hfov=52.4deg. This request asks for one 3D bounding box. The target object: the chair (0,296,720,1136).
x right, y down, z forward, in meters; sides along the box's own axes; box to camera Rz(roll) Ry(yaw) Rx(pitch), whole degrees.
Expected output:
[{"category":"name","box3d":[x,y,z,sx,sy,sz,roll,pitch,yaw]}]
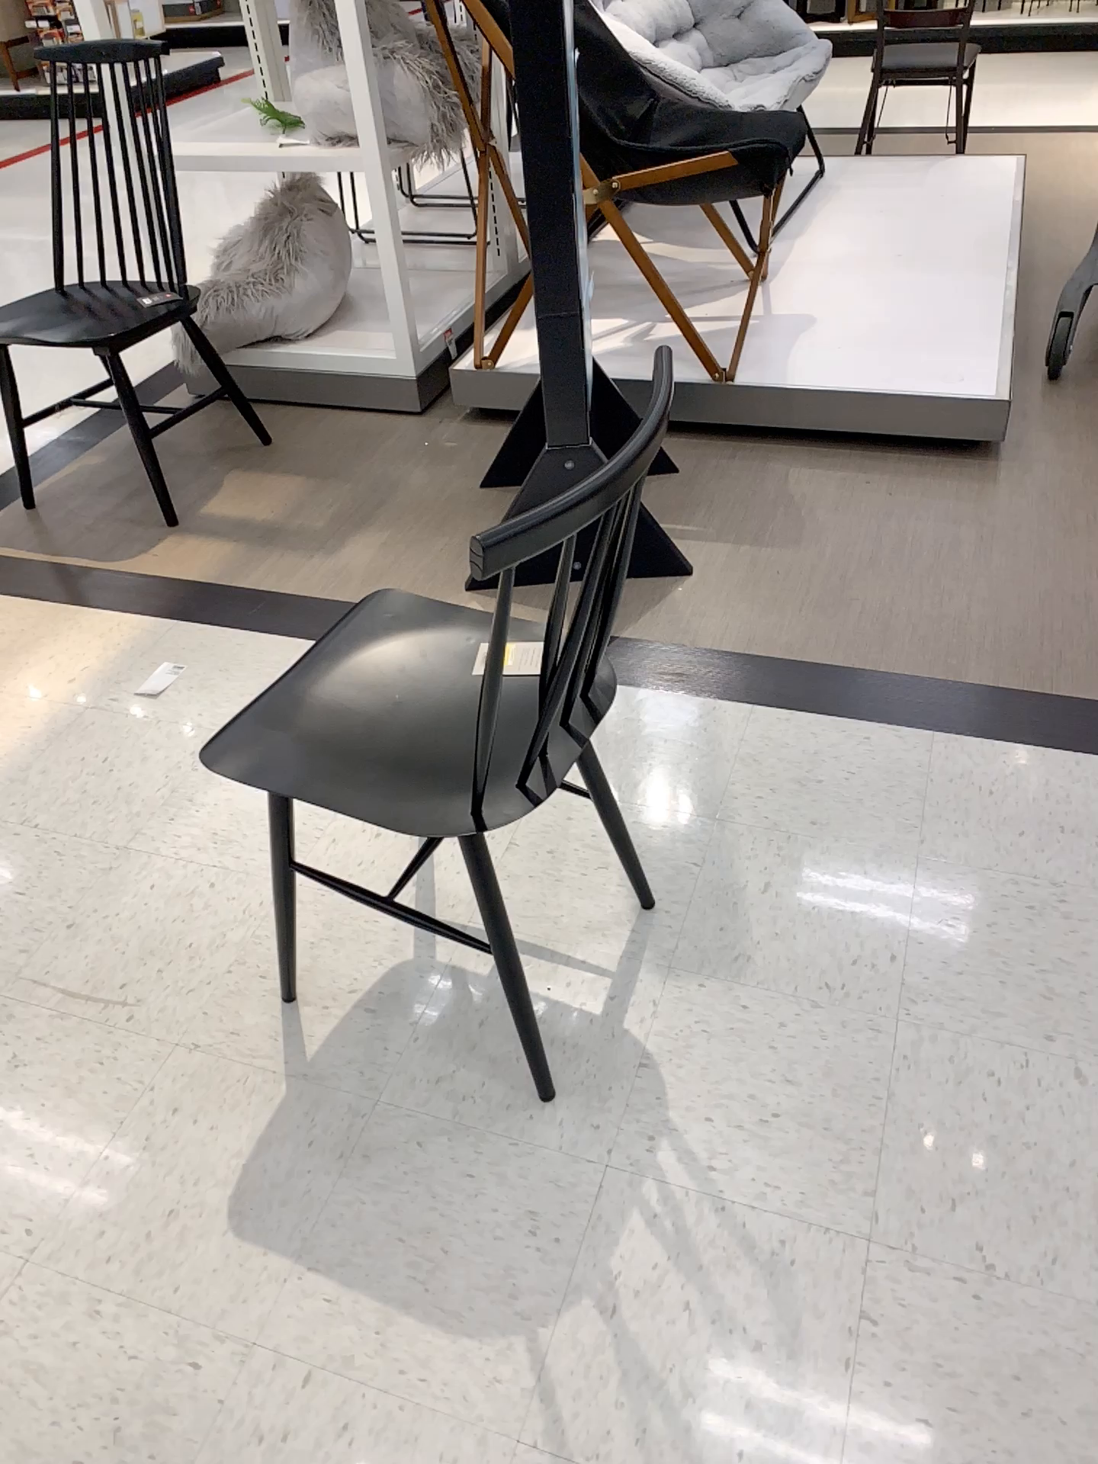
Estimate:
[{"category":"chair","box3d":[-0.136,-0.031,1.287,0.521,0.736,0.482,13,42,22]}]
